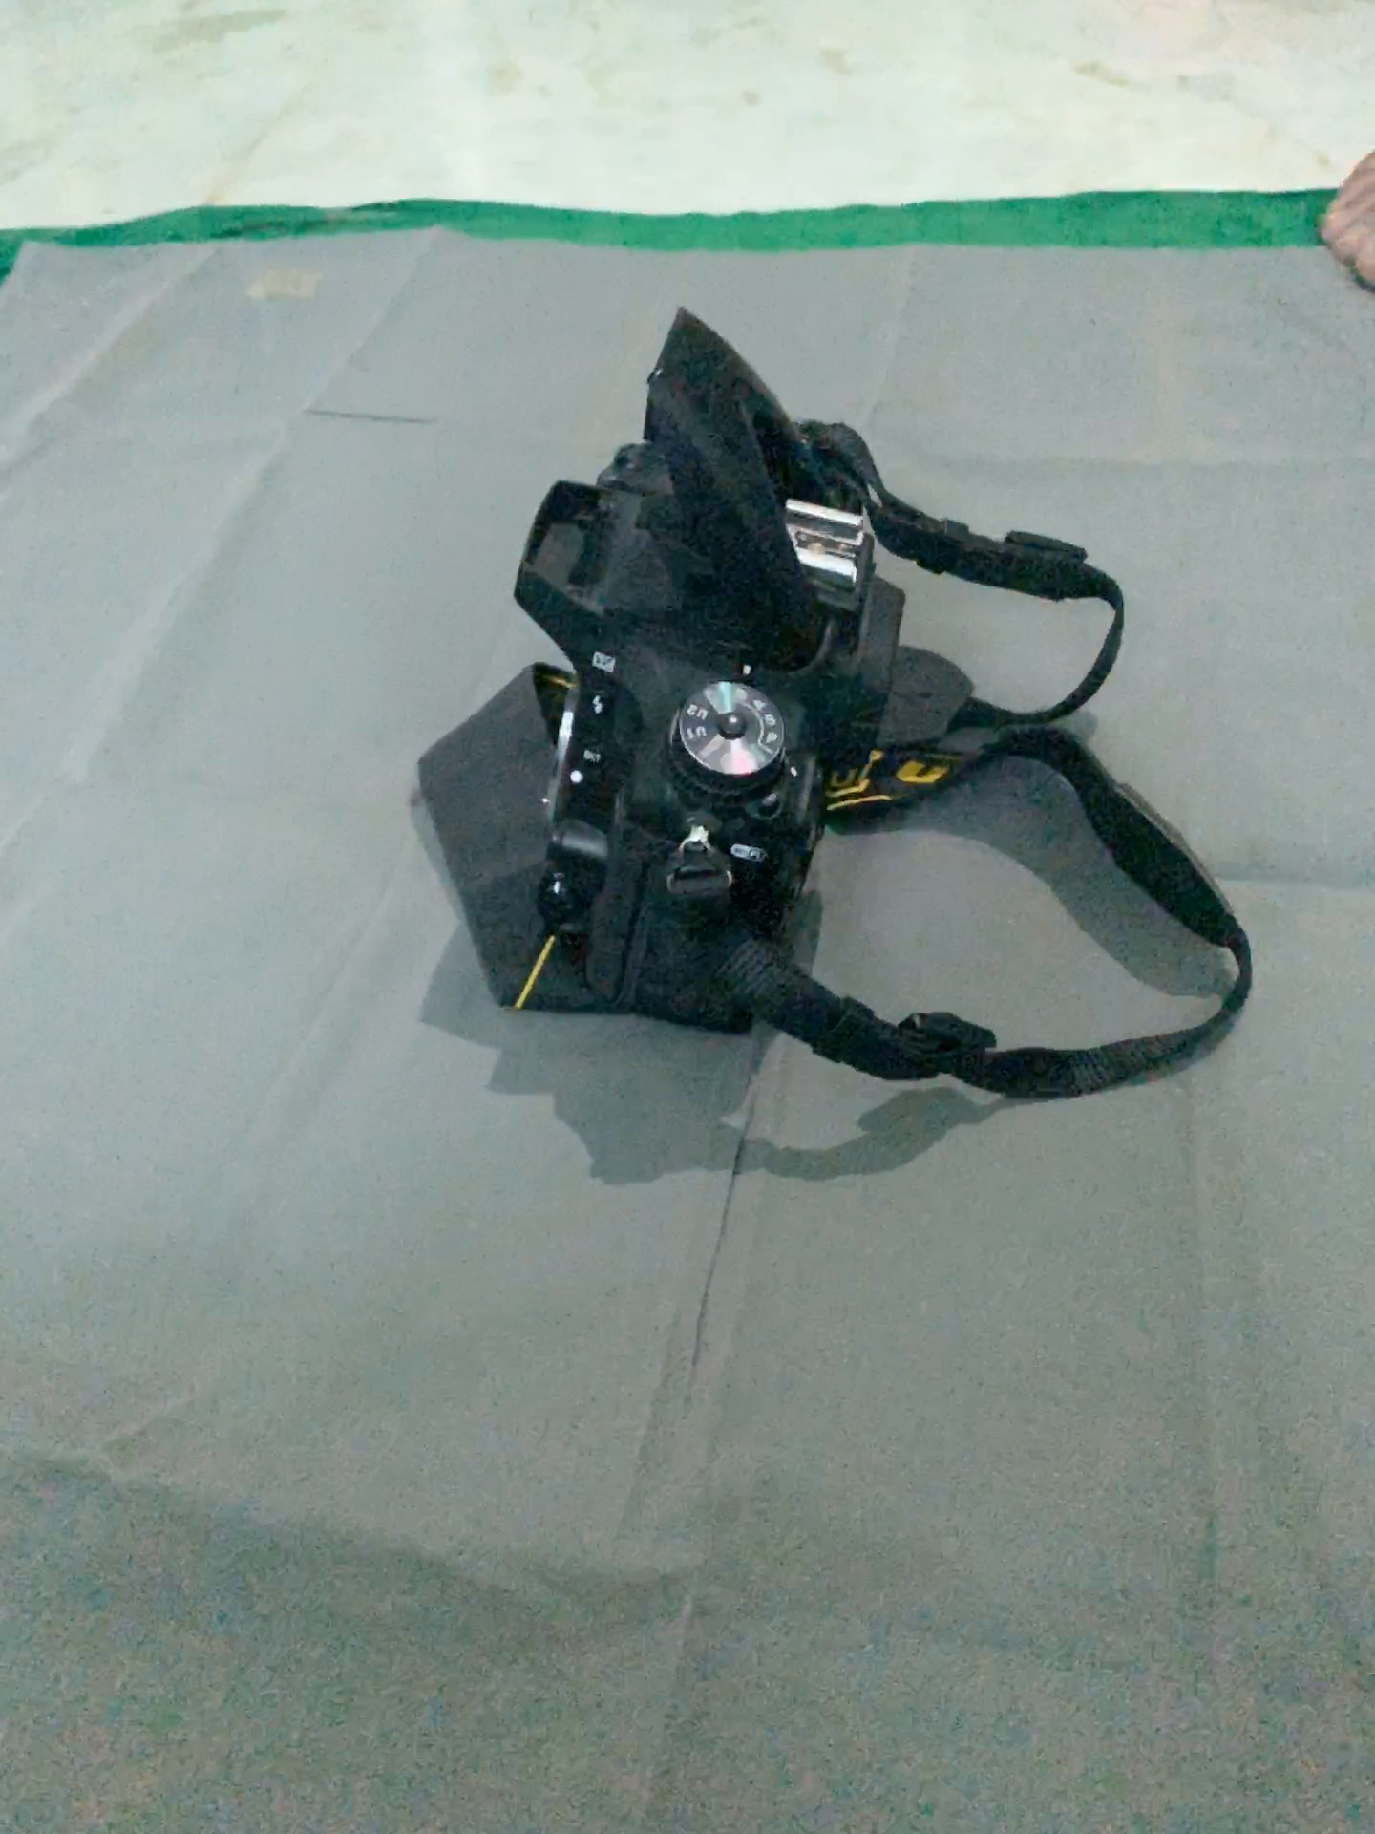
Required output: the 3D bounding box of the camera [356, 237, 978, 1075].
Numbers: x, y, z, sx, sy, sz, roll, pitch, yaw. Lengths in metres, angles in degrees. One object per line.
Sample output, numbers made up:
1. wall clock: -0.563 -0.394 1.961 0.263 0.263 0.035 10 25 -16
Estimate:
1. camera: 0.003 -0.064 0.340 0.100 0.125 0.140 10 48 7
